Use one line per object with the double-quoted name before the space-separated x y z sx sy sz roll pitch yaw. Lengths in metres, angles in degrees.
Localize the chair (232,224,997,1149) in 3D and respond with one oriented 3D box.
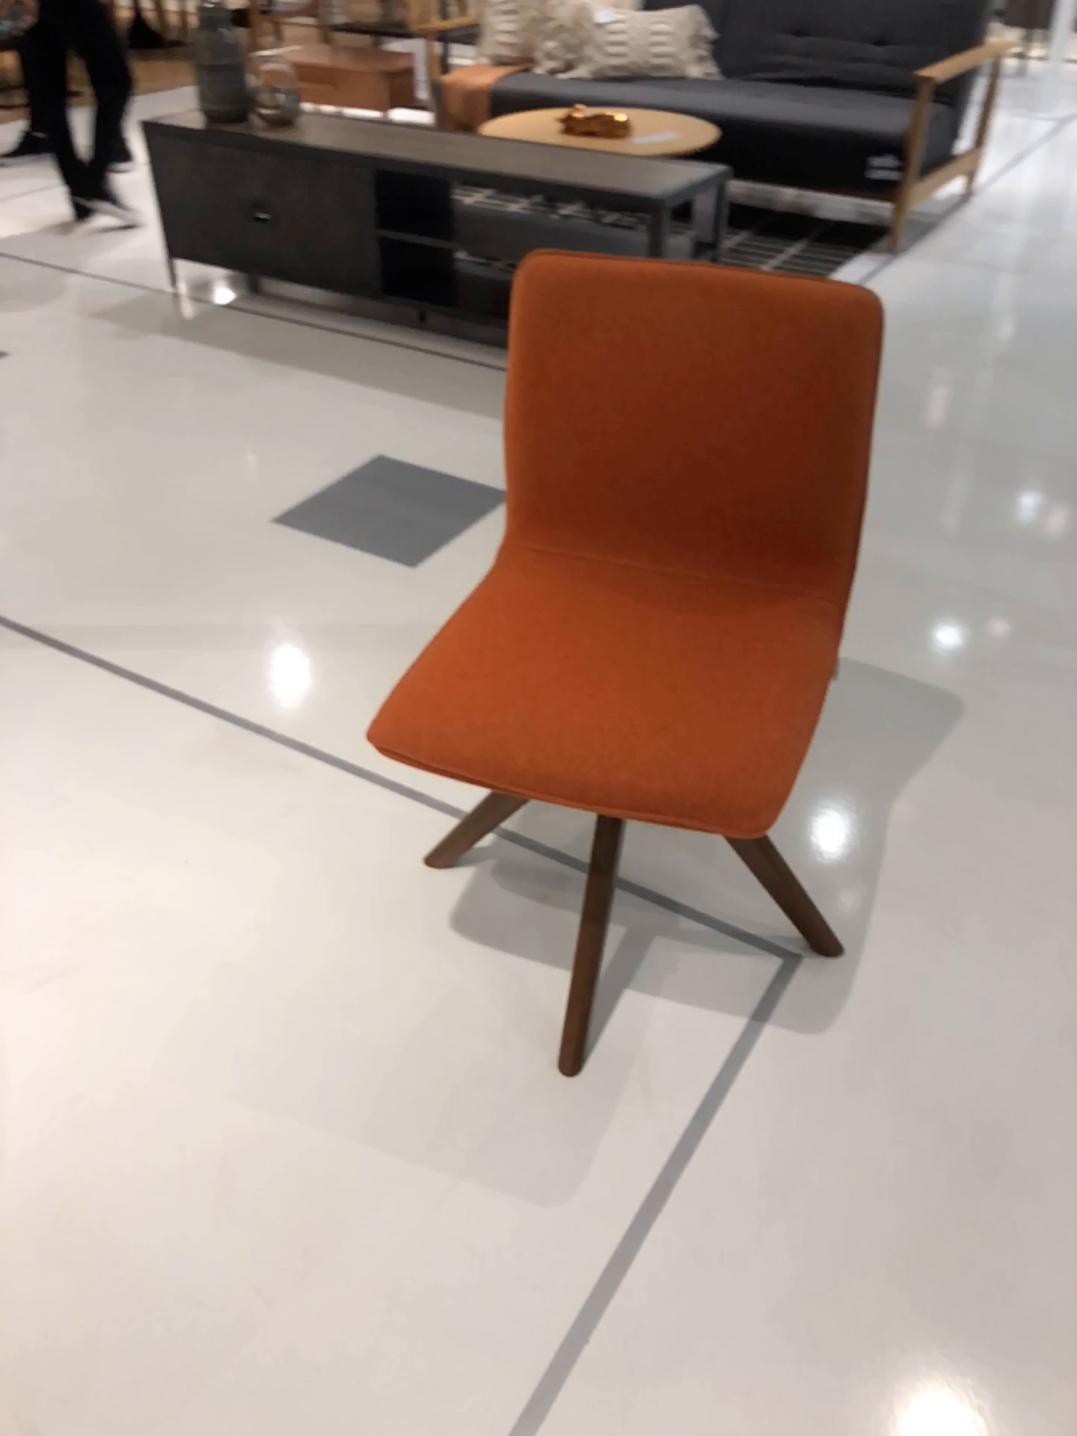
"chair" 0.126 -0.069 1.417 0.610 0.794 0.614 12 38 16
